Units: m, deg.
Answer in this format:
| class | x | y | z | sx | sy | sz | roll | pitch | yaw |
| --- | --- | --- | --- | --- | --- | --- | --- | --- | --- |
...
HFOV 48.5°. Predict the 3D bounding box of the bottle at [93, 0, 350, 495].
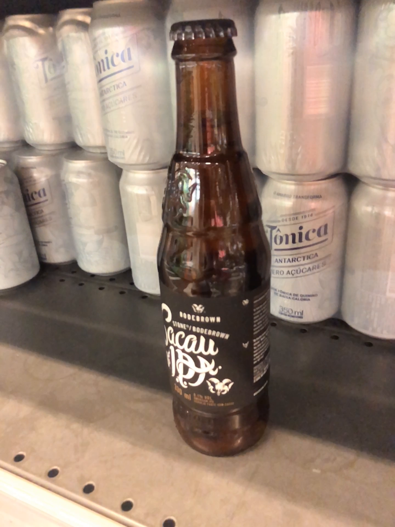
| class | x | y | z | sx | sy | sz | roll | pitch | yaw |
| --- | --- | --- | --- | --- | --- | --- | --- | --- | --- |
| bottle | 0.019 | -0.002 | 0.237 | 0.080 | 0.248 | 0.070 | 15 | 34 | 32 |
